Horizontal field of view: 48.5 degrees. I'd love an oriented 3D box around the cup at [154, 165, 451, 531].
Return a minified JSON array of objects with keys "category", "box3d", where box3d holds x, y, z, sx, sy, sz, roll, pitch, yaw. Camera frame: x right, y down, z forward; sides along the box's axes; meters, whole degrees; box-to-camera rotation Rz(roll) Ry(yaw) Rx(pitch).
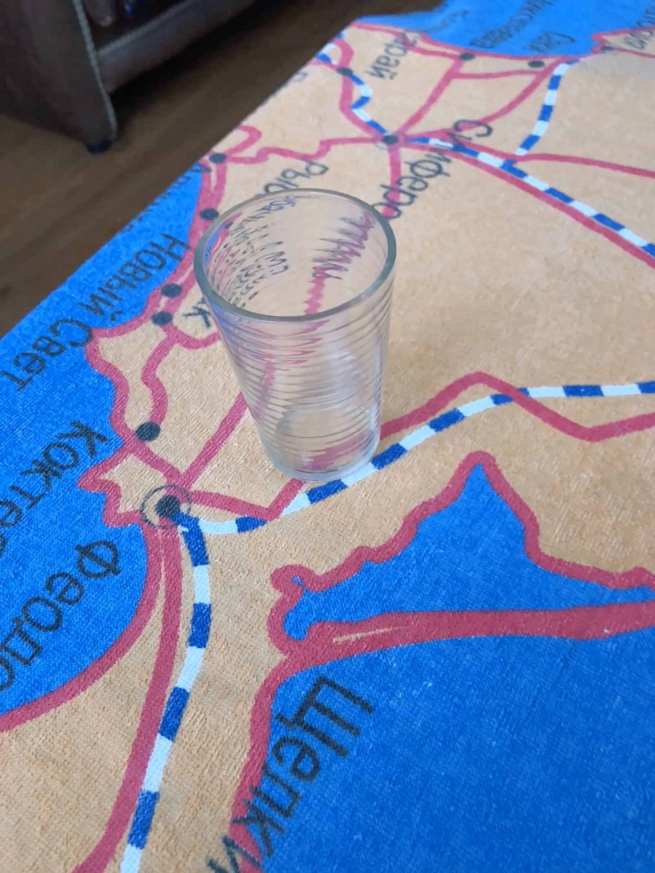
[{"category":"cup","box3d":[-0.004,-0.031,0.273,0.070,0.099,0.068,-2,52,3]}]
